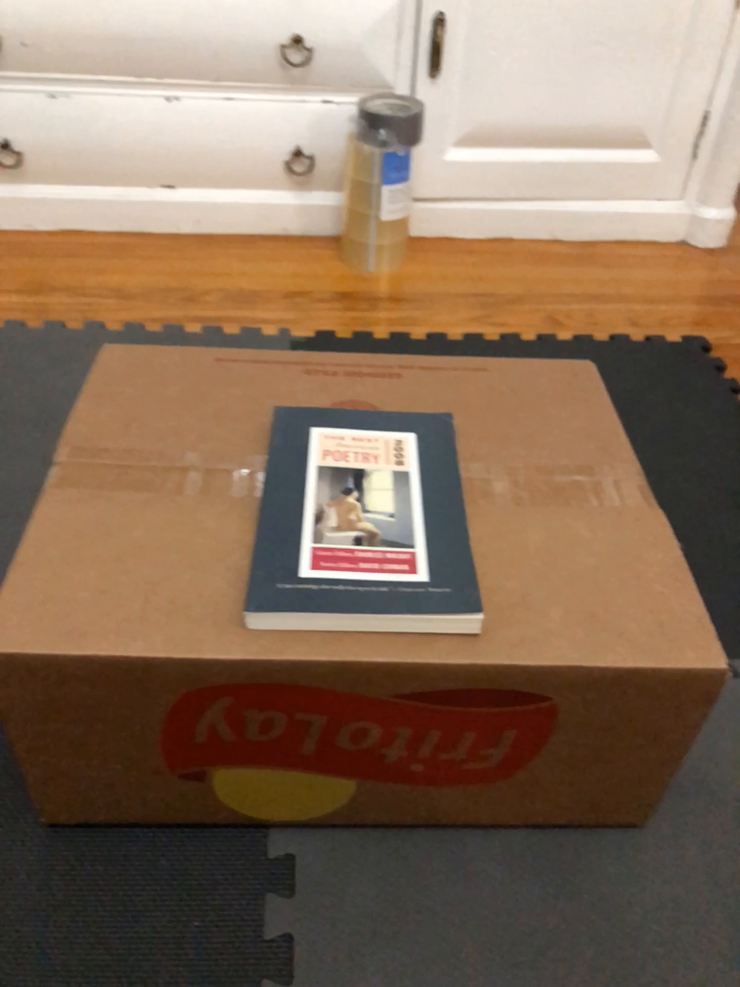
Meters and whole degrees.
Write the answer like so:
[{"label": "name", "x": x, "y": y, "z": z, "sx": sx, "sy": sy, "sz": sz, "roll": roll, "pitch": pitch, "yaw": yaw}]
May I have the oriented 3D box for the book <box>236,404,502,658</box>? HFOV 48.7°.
[{"label": "book", "x": -0.004, "y": 0.013, "z": 0.555, "sx": 0.150, "sy": 0.020, "sz": 0.231, "roll": 1, "pitch": 39, "yaw": -3}]
